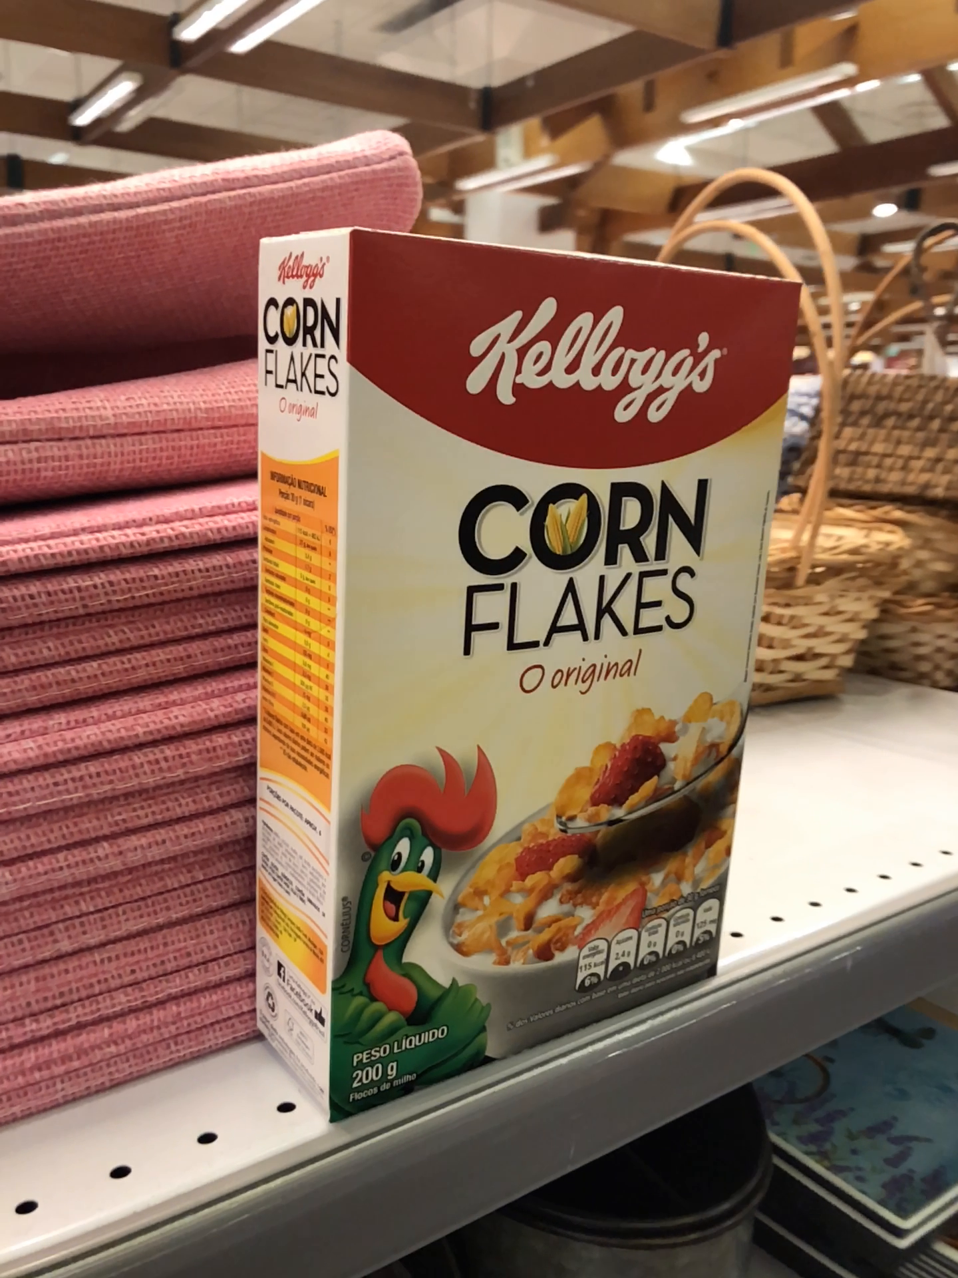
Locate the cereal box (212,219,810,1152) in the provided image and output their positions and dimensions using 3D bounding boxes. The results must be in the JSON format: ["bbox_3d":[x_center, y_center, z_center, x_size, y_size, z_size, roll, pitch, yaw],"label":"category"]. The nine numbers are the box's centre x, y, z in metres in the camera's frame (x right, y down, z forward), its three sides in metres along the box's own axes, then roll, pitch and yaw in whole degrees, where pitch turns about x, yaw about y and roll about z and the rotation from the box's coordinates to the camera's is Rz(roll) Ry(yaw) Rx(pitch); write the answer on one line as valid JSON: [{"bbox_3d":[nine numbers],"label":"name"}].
[{"bbox_3d":[0.009,0.010,0.355,0.180,0.259,0.060,-7,18,-33],"label":"cereal box"}]
